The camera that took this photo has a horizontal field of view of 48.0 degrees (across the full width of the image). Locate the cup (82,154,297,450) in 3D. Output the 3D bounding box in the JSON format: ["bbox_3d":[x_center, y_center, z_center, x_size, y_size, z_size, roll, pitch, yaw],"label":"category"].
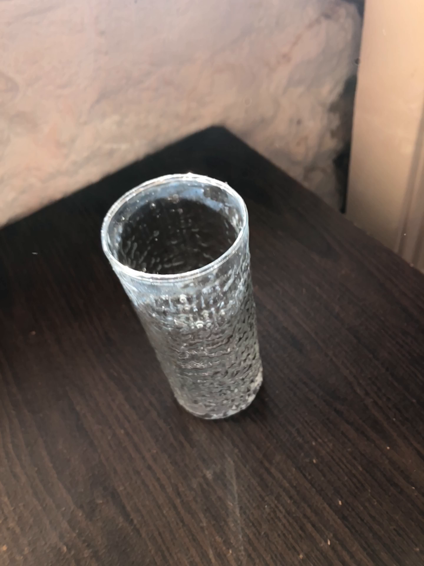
[{"bbox_3d":[-0.004,0.016,0.251,0.070,0.130,0.068,-5,49,6],"label":"cup"}]
